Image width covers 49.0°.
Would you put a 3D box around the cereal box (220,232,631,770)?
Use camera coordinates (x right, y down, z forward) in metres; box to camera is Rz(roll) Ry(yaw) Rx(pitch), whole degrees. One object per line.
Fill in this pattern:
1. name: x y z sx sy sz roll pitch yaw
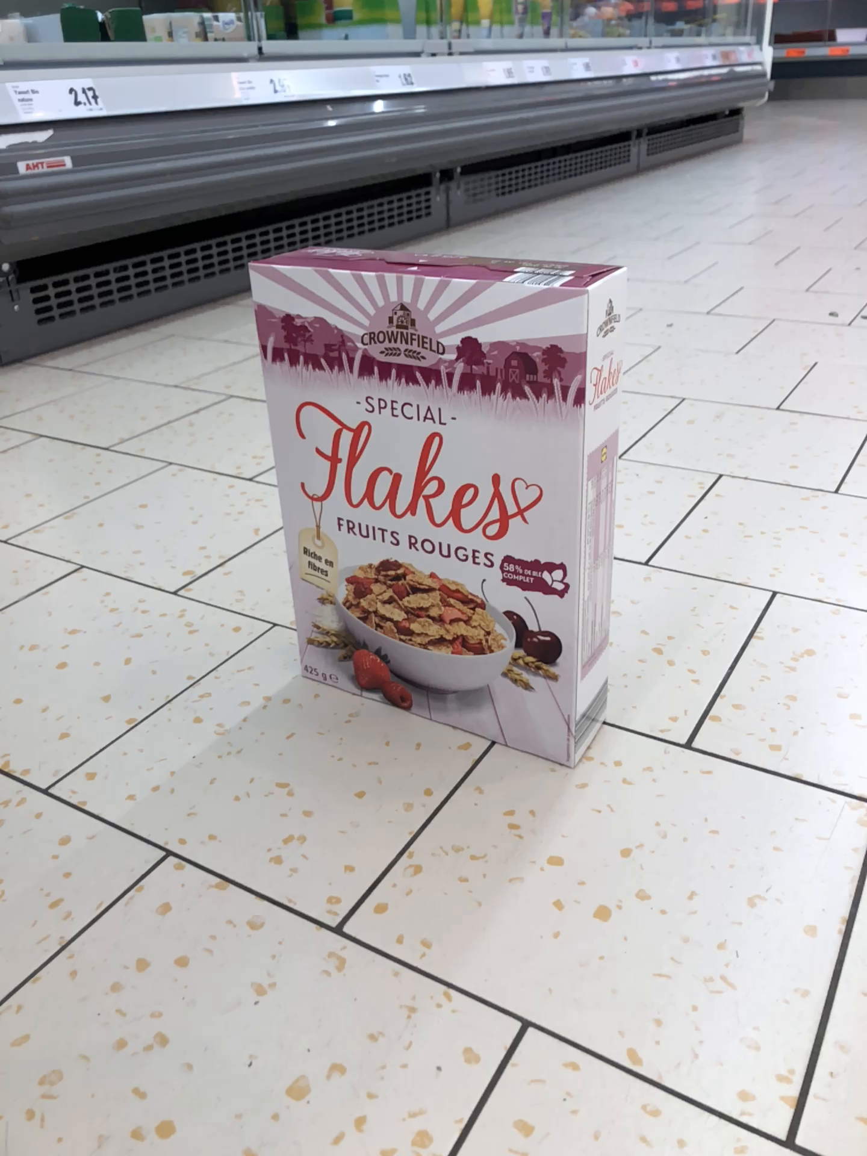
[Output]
1. cereal box: -0.003 -0.046 0.520 0.200 0.259 0.060 14 31 30
